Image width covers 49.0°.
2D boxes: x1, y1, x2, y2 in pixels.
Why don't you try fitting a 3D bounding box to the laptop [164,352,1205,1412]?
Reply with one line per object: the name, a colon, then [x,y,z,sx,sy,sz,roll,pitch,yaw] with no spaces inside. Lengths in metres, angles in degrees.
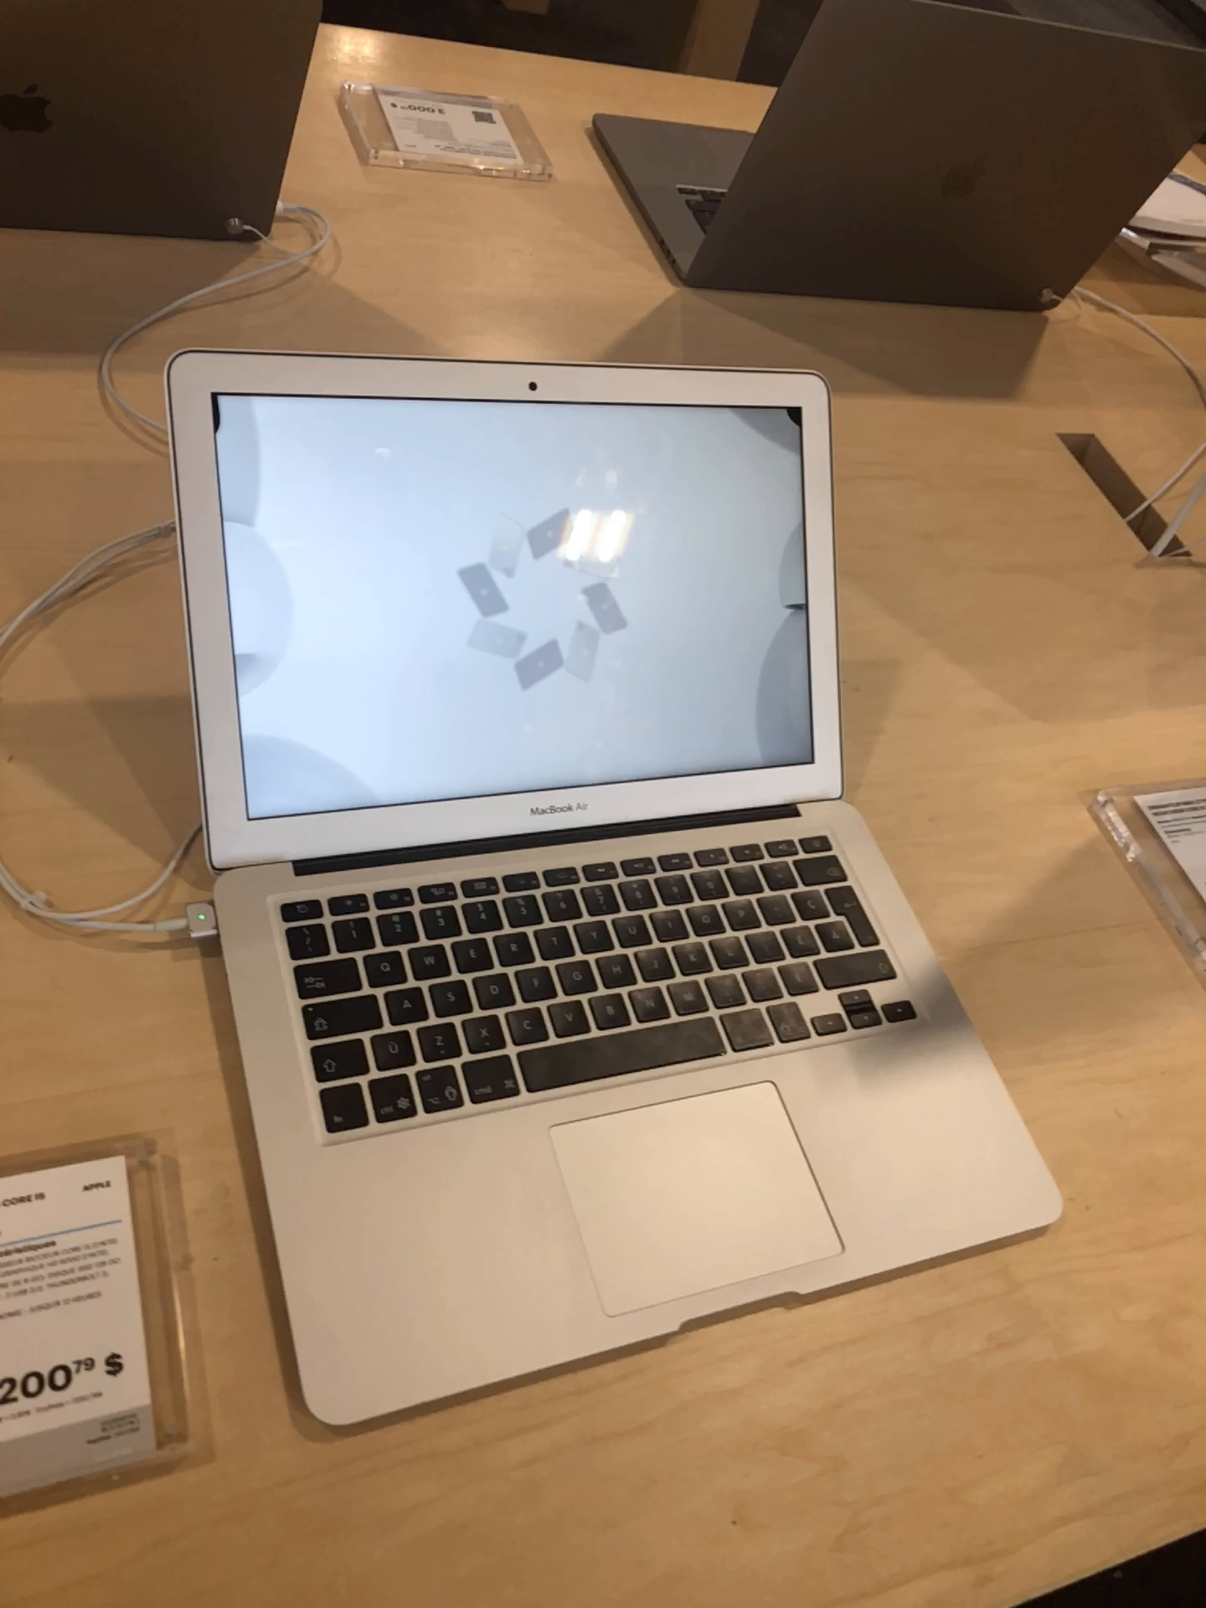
laptop: [0.006,-0.005,0.537,0.303,0.137,0.371,-6,54,-24]
